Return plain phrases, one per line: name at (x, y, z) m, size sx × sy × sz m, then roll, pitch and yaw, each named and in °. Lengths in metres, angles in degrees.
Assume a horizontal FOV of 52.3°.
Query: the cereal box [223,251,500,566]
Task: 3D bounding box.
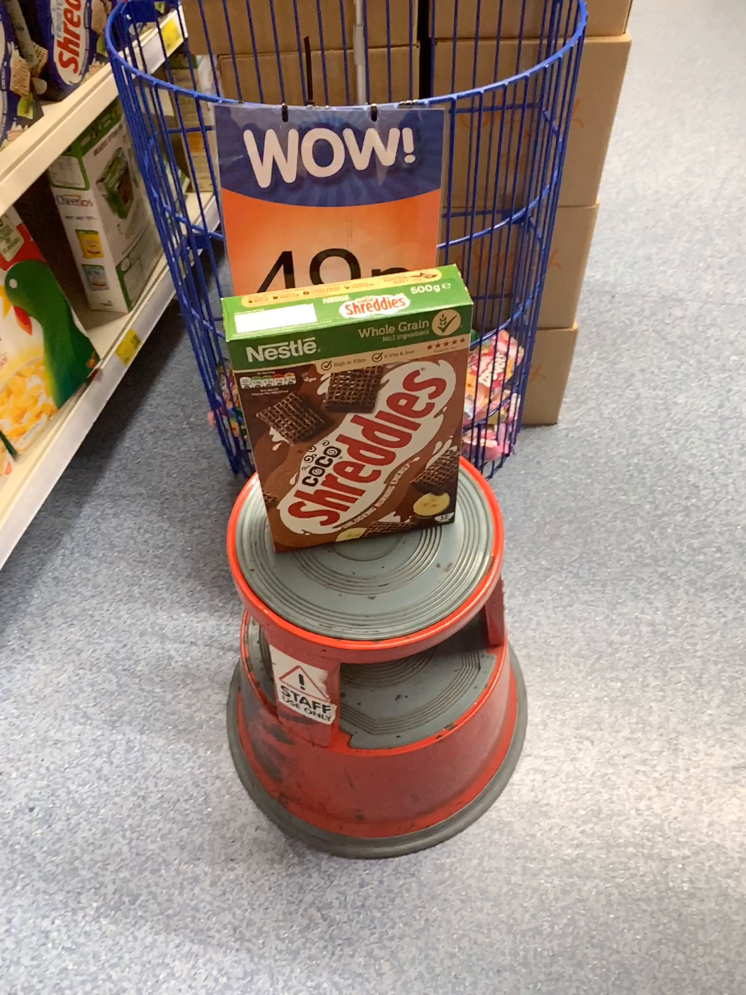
cereal box at (-0.007, -0.065, 0.681) m, size 0.200 × 0.278 × 0.071 m, roll -10°, pitch 50°, yaw -6°
